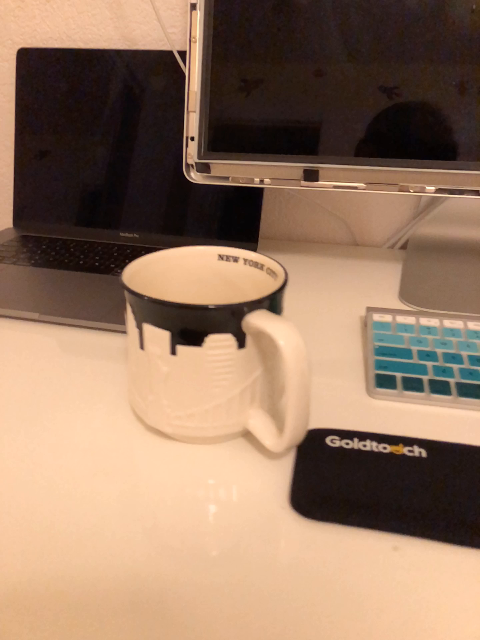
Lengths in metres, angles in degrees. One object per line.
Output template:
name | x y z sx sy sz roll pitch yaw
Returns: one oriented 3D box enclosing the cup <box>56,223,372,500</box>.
cup | -0.018 0.009 0.326 0.150 0.089 0.110 22 33 37
